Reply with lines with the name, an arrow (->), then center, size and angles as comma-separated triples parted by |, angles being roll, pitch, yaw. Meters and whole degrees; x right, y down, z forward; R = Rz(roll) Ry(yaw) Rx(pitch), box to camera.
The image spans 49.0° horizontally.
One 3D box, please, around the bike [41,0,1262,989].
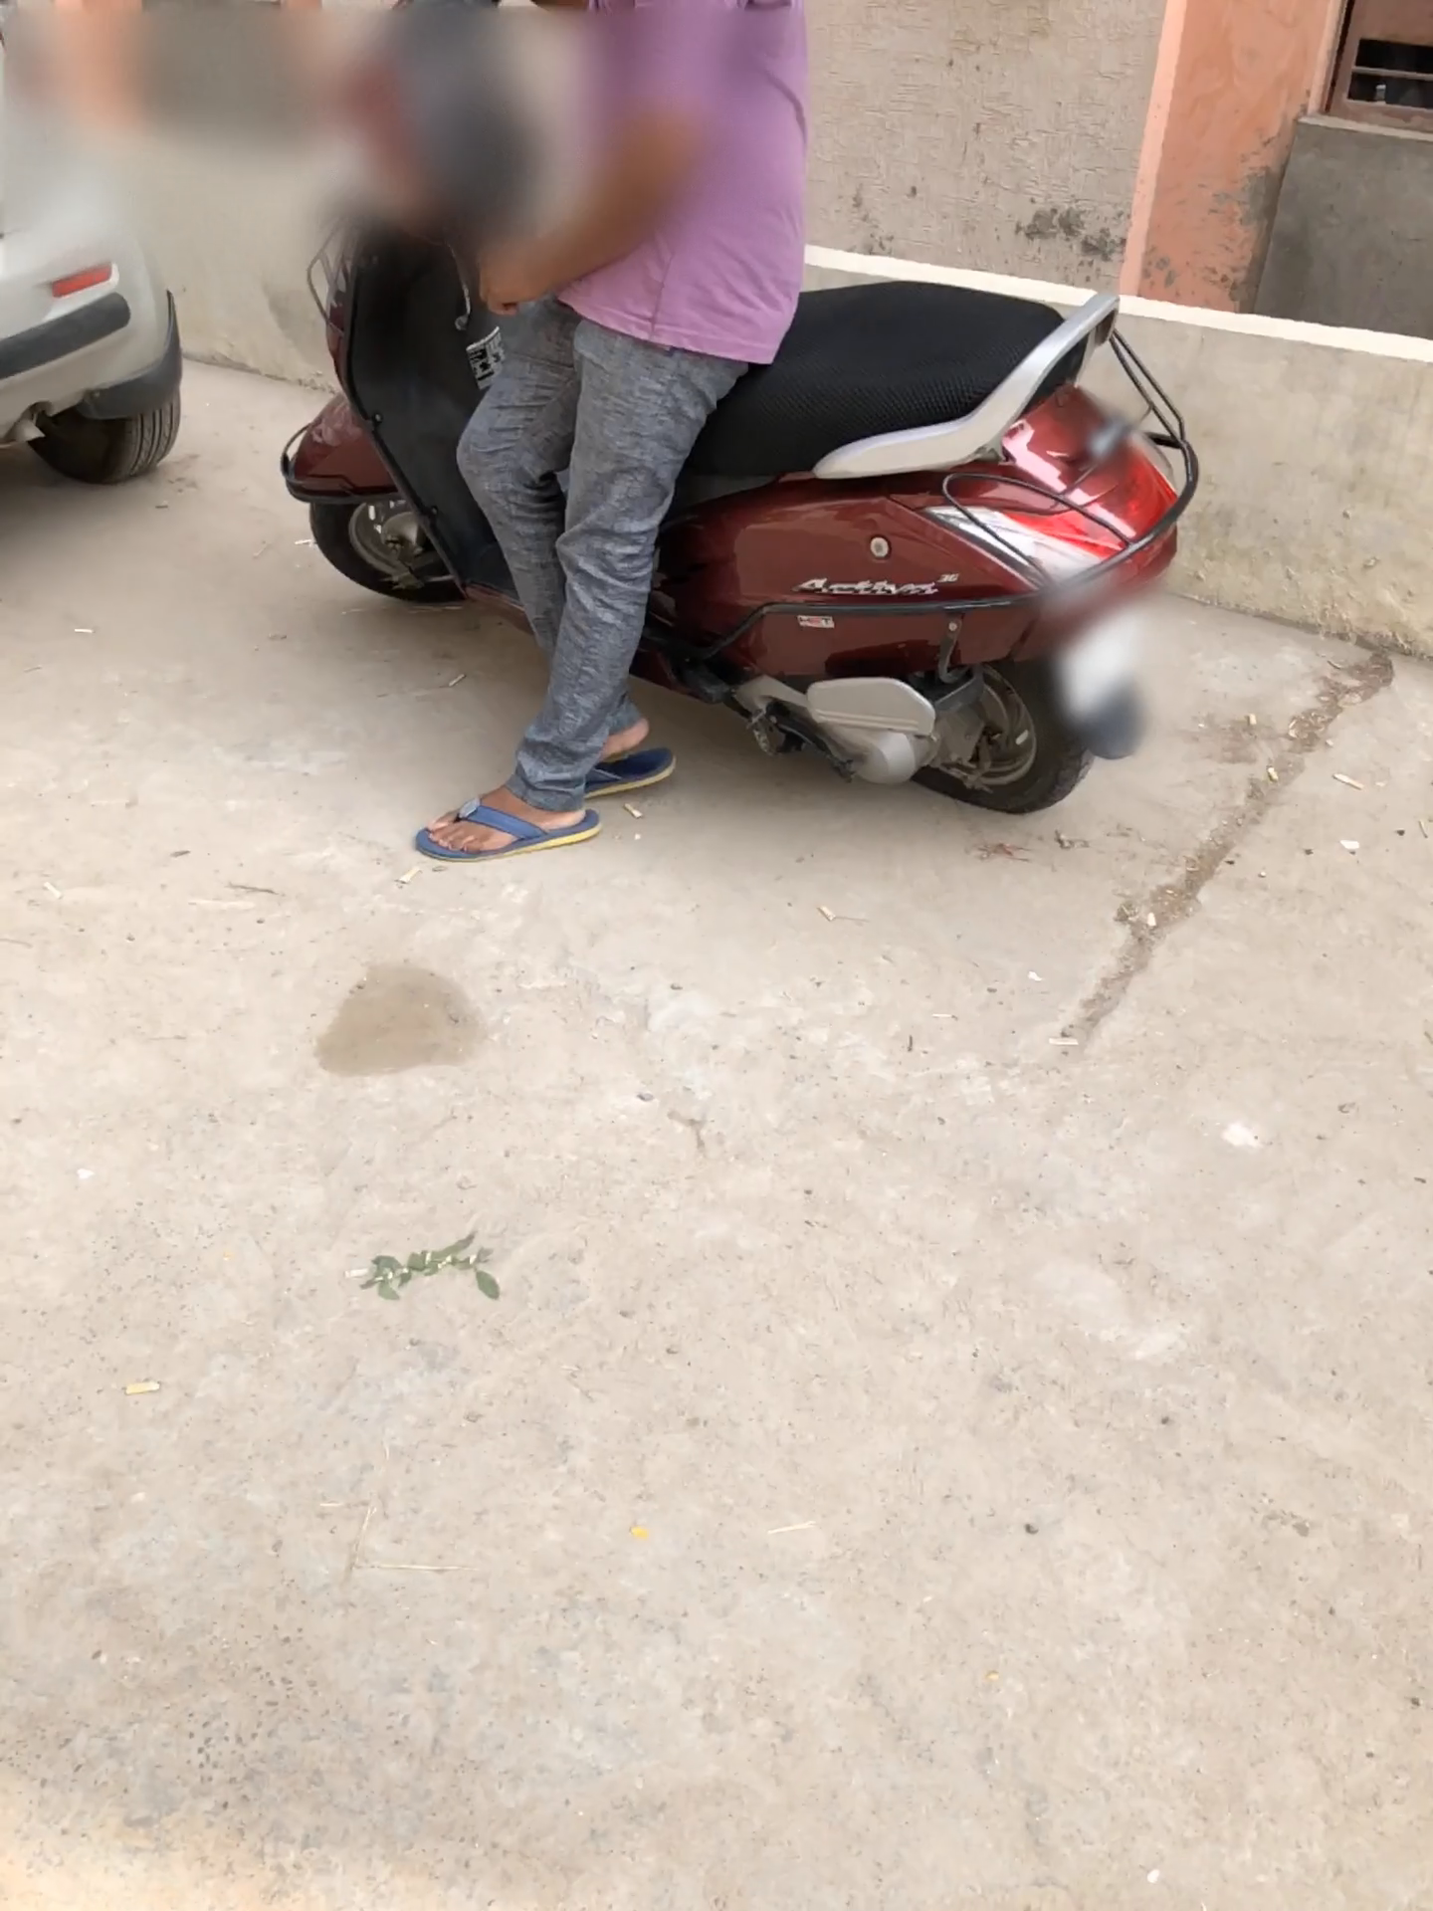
bike -> -0.160, -0.801, 2.383 | 1.576, 1.072, 0.633 | 22, 40, 28
